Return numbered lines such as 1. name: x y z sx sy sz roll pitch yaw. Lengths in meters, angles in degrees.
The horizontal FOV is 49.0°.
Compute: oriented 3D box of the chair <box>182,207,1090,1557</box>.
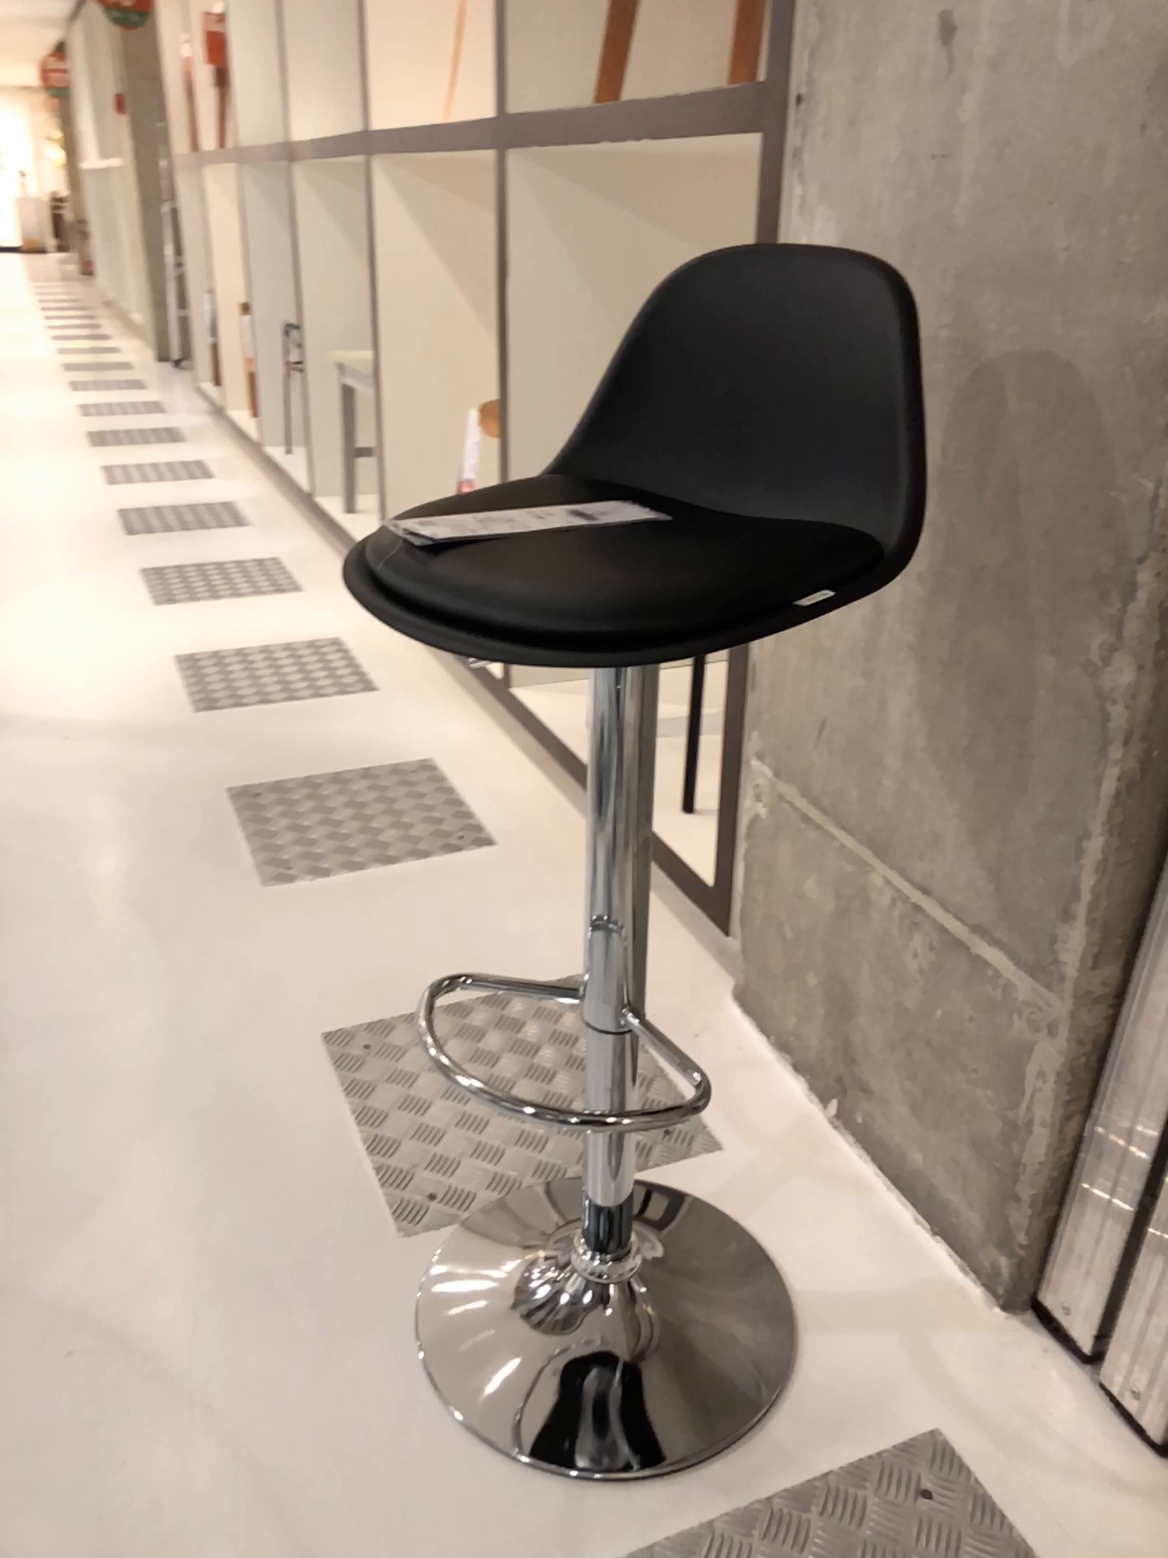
1. chair: 0.029 0.071 1.102 0.472 1.013 0.431 -21 32 -40
